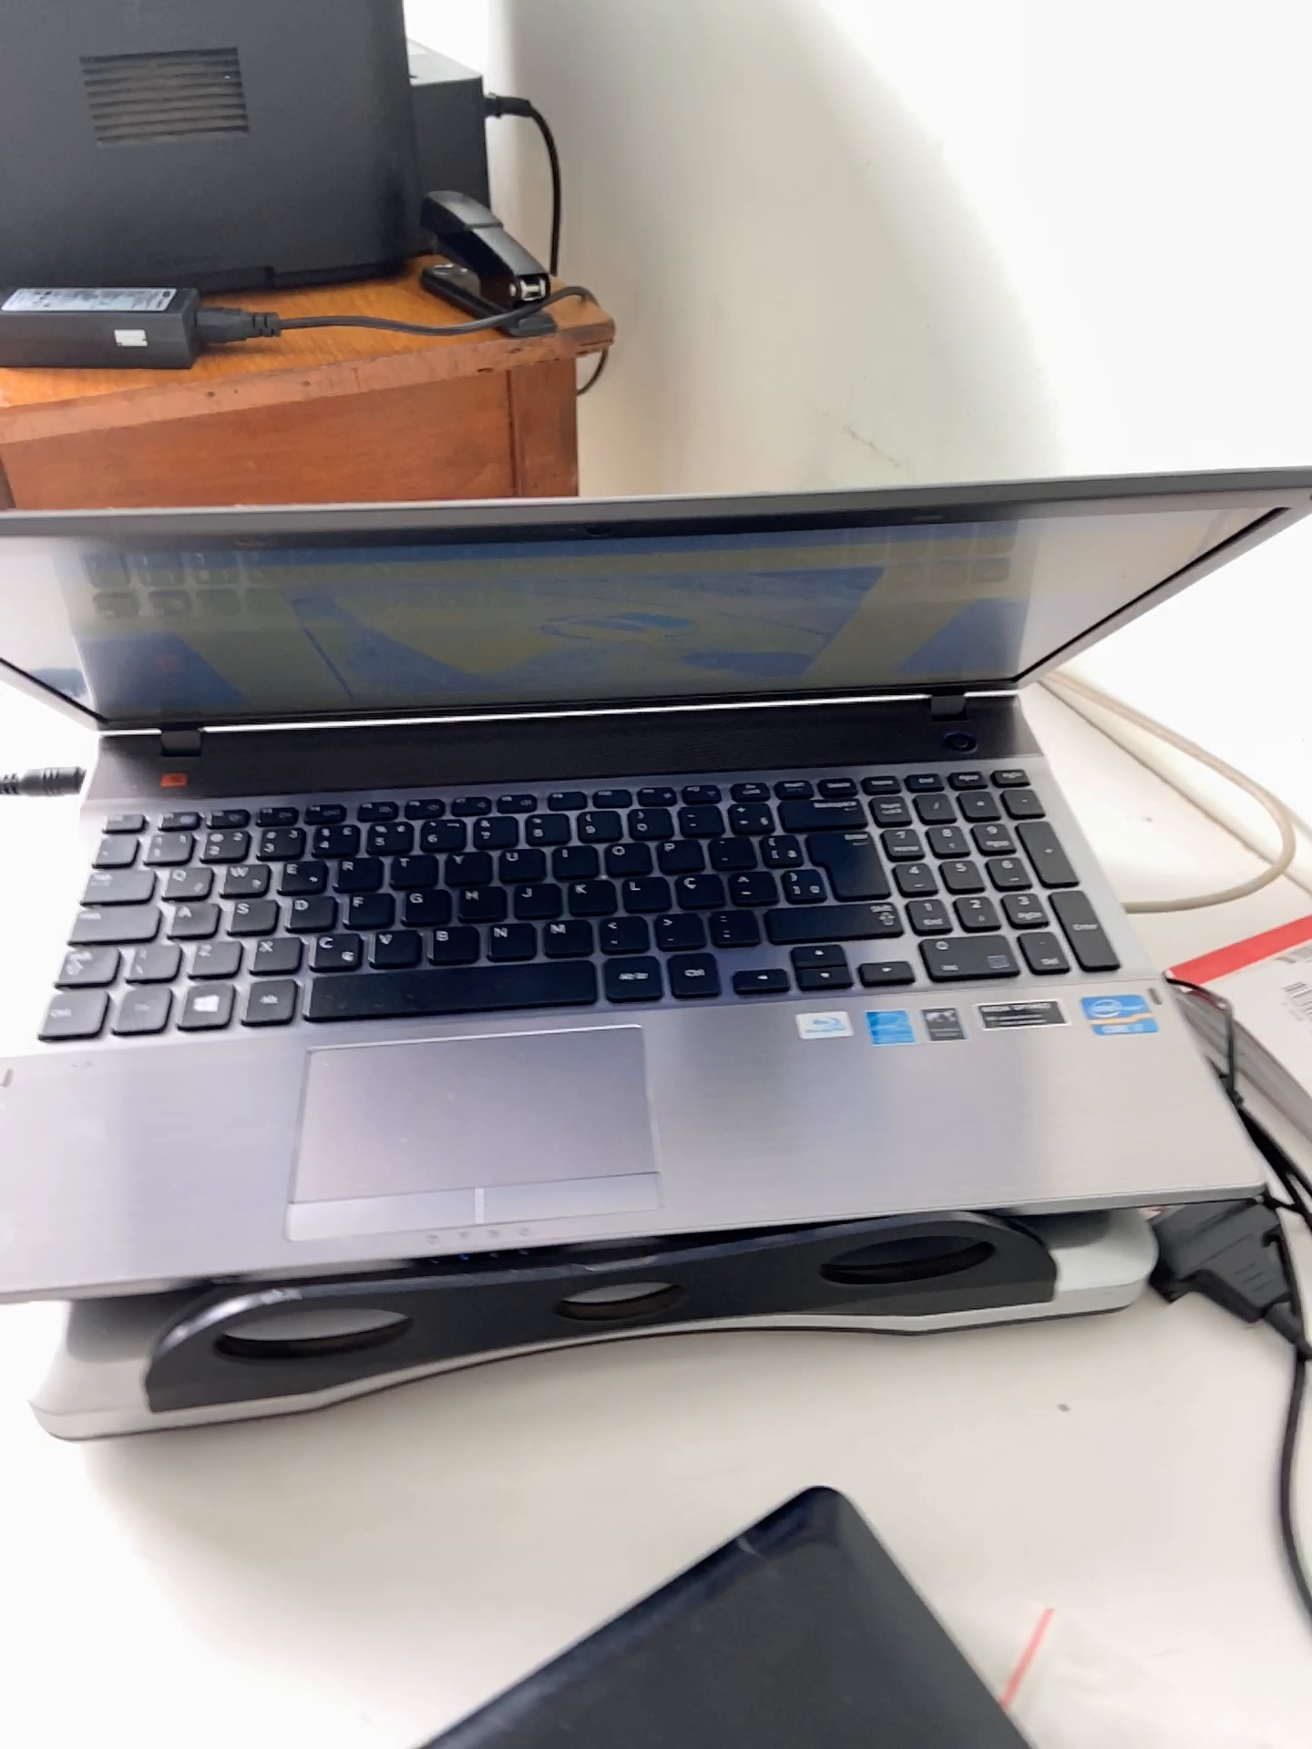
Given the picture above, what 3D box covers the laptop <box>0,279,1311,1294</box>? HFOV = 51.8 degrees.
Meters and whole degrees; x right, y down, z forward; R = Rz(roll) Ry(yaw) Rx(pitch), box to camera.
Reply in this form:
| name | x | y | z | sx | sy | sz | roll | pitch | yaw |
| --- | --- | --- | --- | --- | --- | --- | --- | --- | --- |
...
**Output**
| name | x | y | z | sx | sy | sz | roll | pitch | yaw |
| --- | --- | --- | --- | --- | --- | --- | --- | --- | --- |
| laptop | -0.017 | -0.044 | 0.398 | 0.359 | 0.164 | 0.231 | -3 | 43 | -6 |
